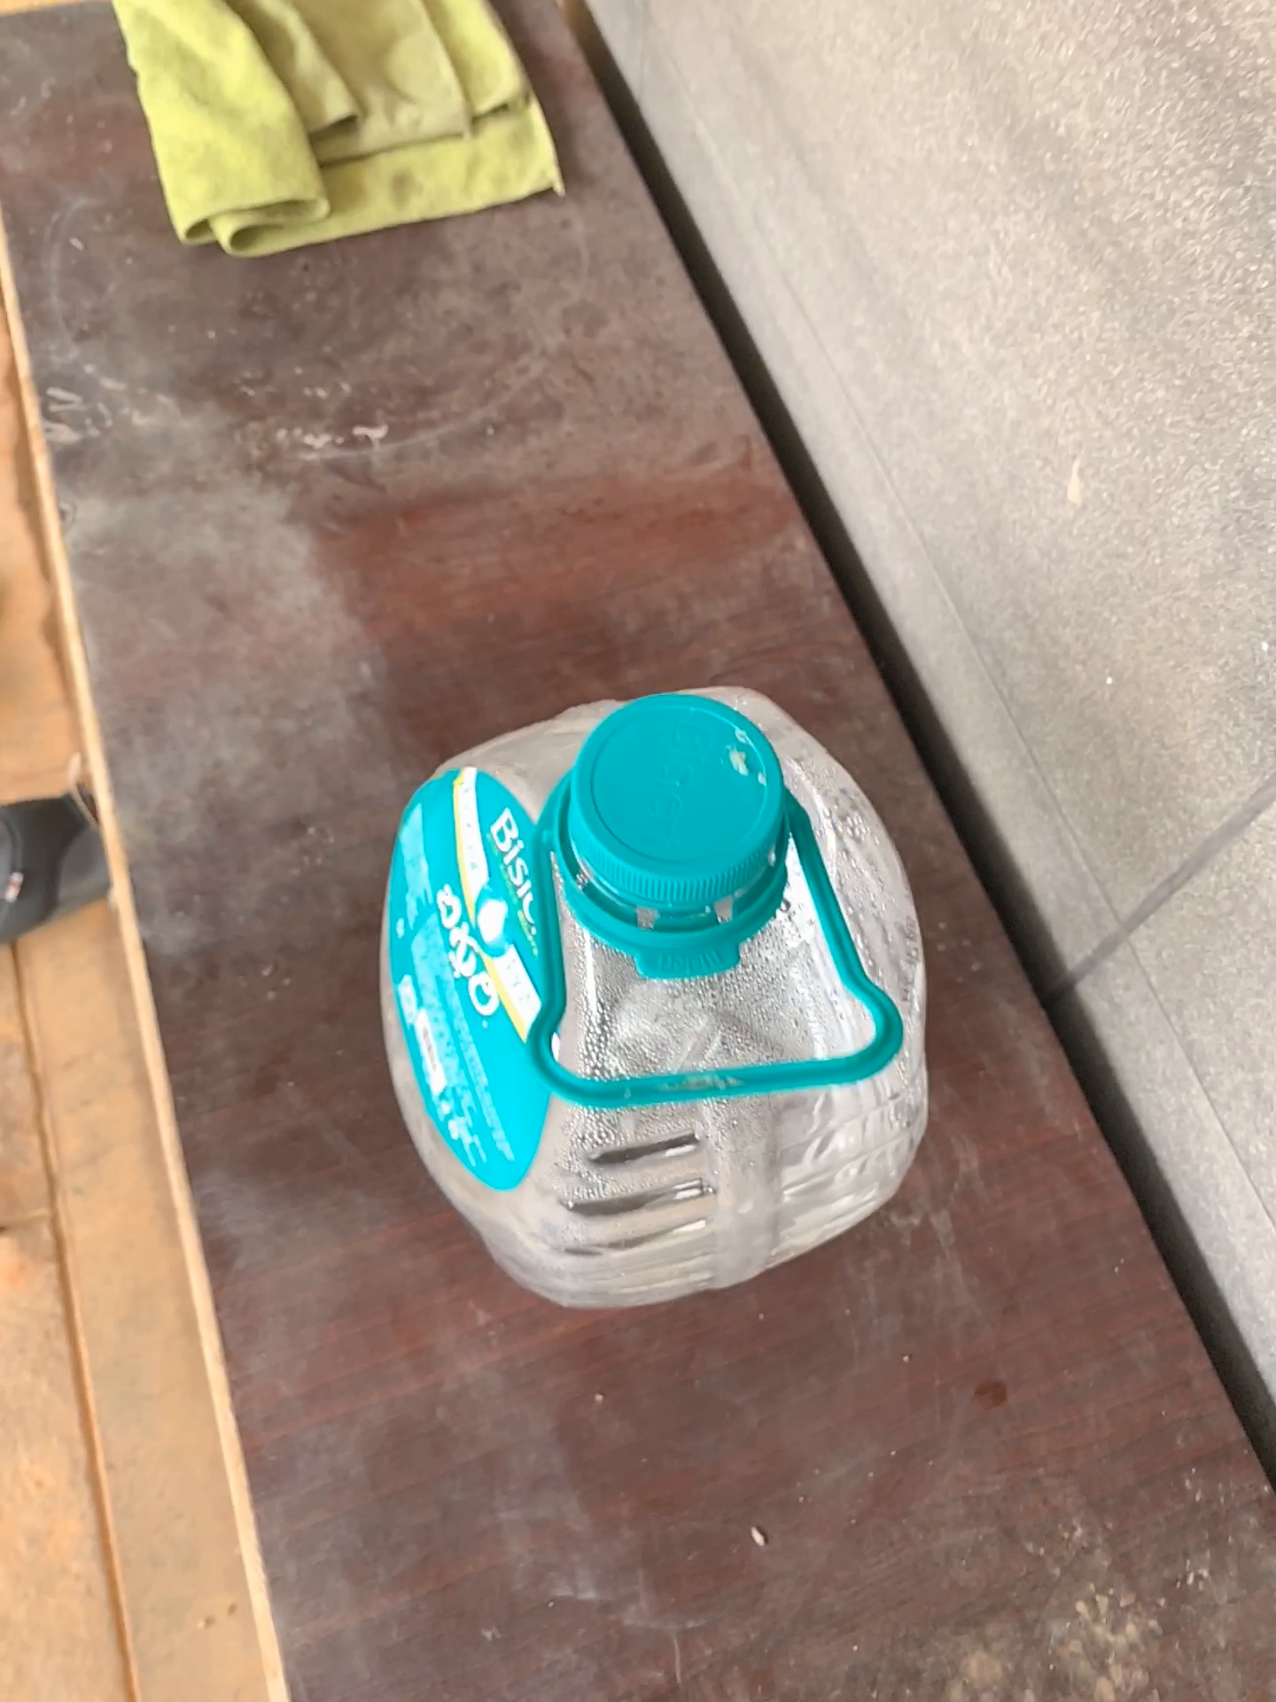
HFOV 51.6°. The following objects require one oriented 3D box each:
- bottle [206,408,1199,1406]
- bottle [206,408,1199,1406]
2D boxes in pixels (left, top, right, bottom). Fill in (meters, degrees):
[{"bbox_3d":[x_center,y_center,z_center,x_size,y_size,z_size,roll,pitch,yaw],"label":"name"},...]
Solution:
[{"bbox_3d":[-0.002,0.033,0.405,0.180,0.220,0.200,-13,66,-11],"label":"bottle"},{"bbox_3d":[-0.002,0.033,0.405,0.180,0.220,0.200,-13,66,-11],"label":"bottle"}]
